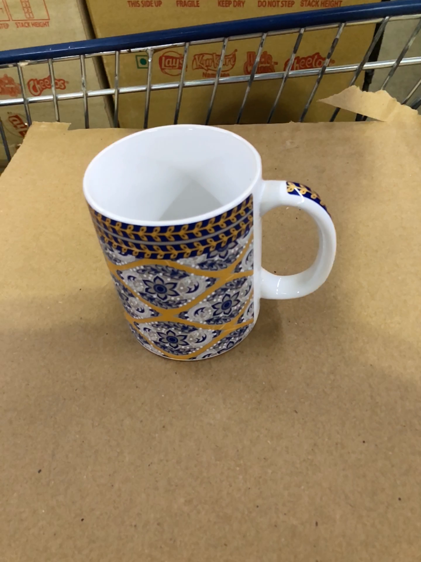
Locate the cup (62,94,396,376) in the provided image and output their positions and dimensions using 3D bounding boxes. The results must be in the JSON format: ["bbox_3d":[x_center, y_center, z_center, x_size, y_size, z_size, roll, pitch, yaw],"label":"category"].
[{"bbox_3d":[0.008,-0.022,0.230,0.120,0.099,0.080,-5,42,1],"label":"cup"}]
